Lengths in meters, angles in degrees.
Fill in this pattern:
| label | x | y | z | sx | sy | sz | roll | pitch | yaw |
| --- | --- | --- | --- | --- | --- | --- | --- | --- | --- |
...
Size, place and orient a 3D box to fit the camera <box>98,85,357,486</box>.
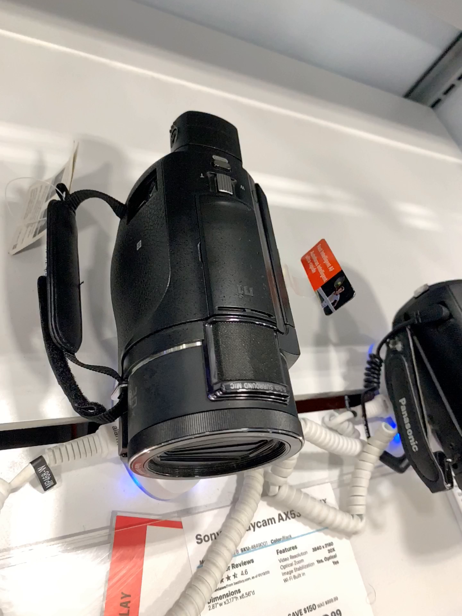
| label | x | y | z | sx | sy | sz | roll | pitch | yaw |
| --- | --- | --- | --- | --- | --- | --- | --- | --- | --- |
| camera | -0.013 | -0.009 | 0.213 | 0.070 | 0.071 | 0.151 | 9 | 56 | -27 |
